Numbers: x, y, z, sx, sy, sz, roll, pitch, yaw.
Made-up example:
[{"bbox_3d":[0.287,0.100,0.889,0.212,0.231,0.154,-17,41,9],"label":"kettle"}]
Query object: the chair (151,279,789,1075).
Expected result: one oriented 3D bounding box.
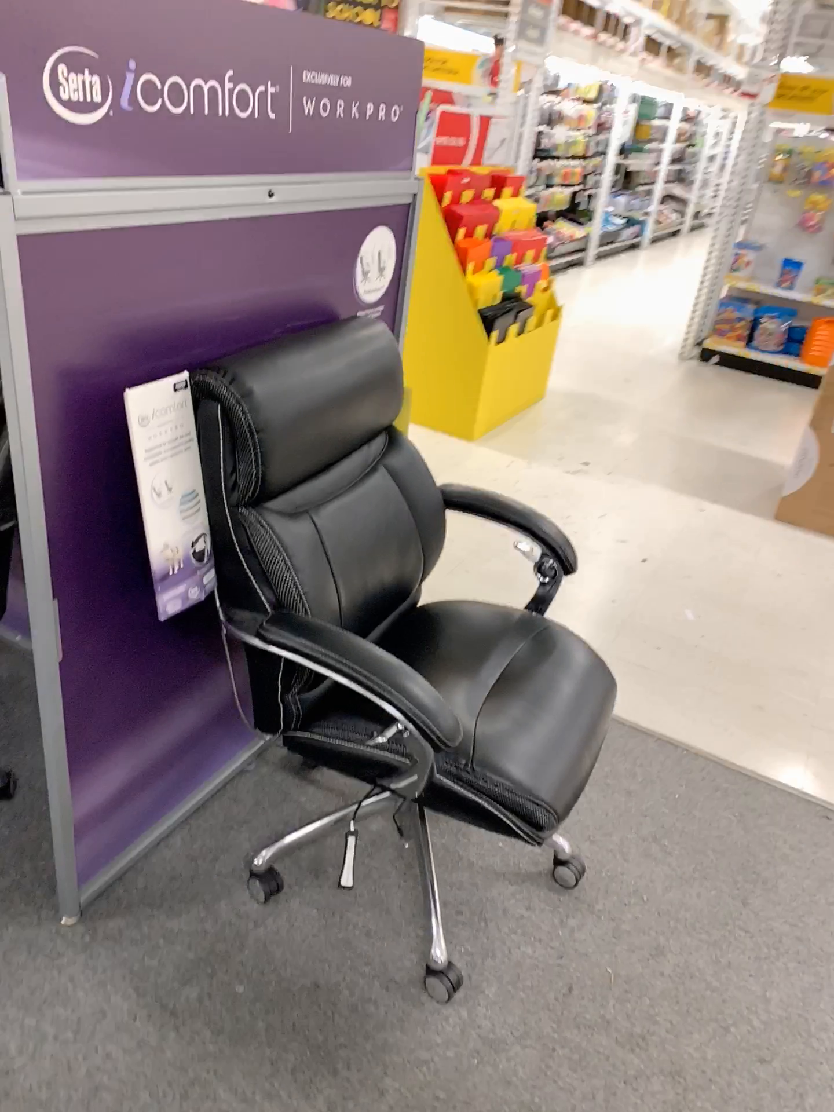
[{"bbox_3d":[0.085,0.113,1.513,0.721,0.955,0.773,21,30,21],"label":"chair"}]
